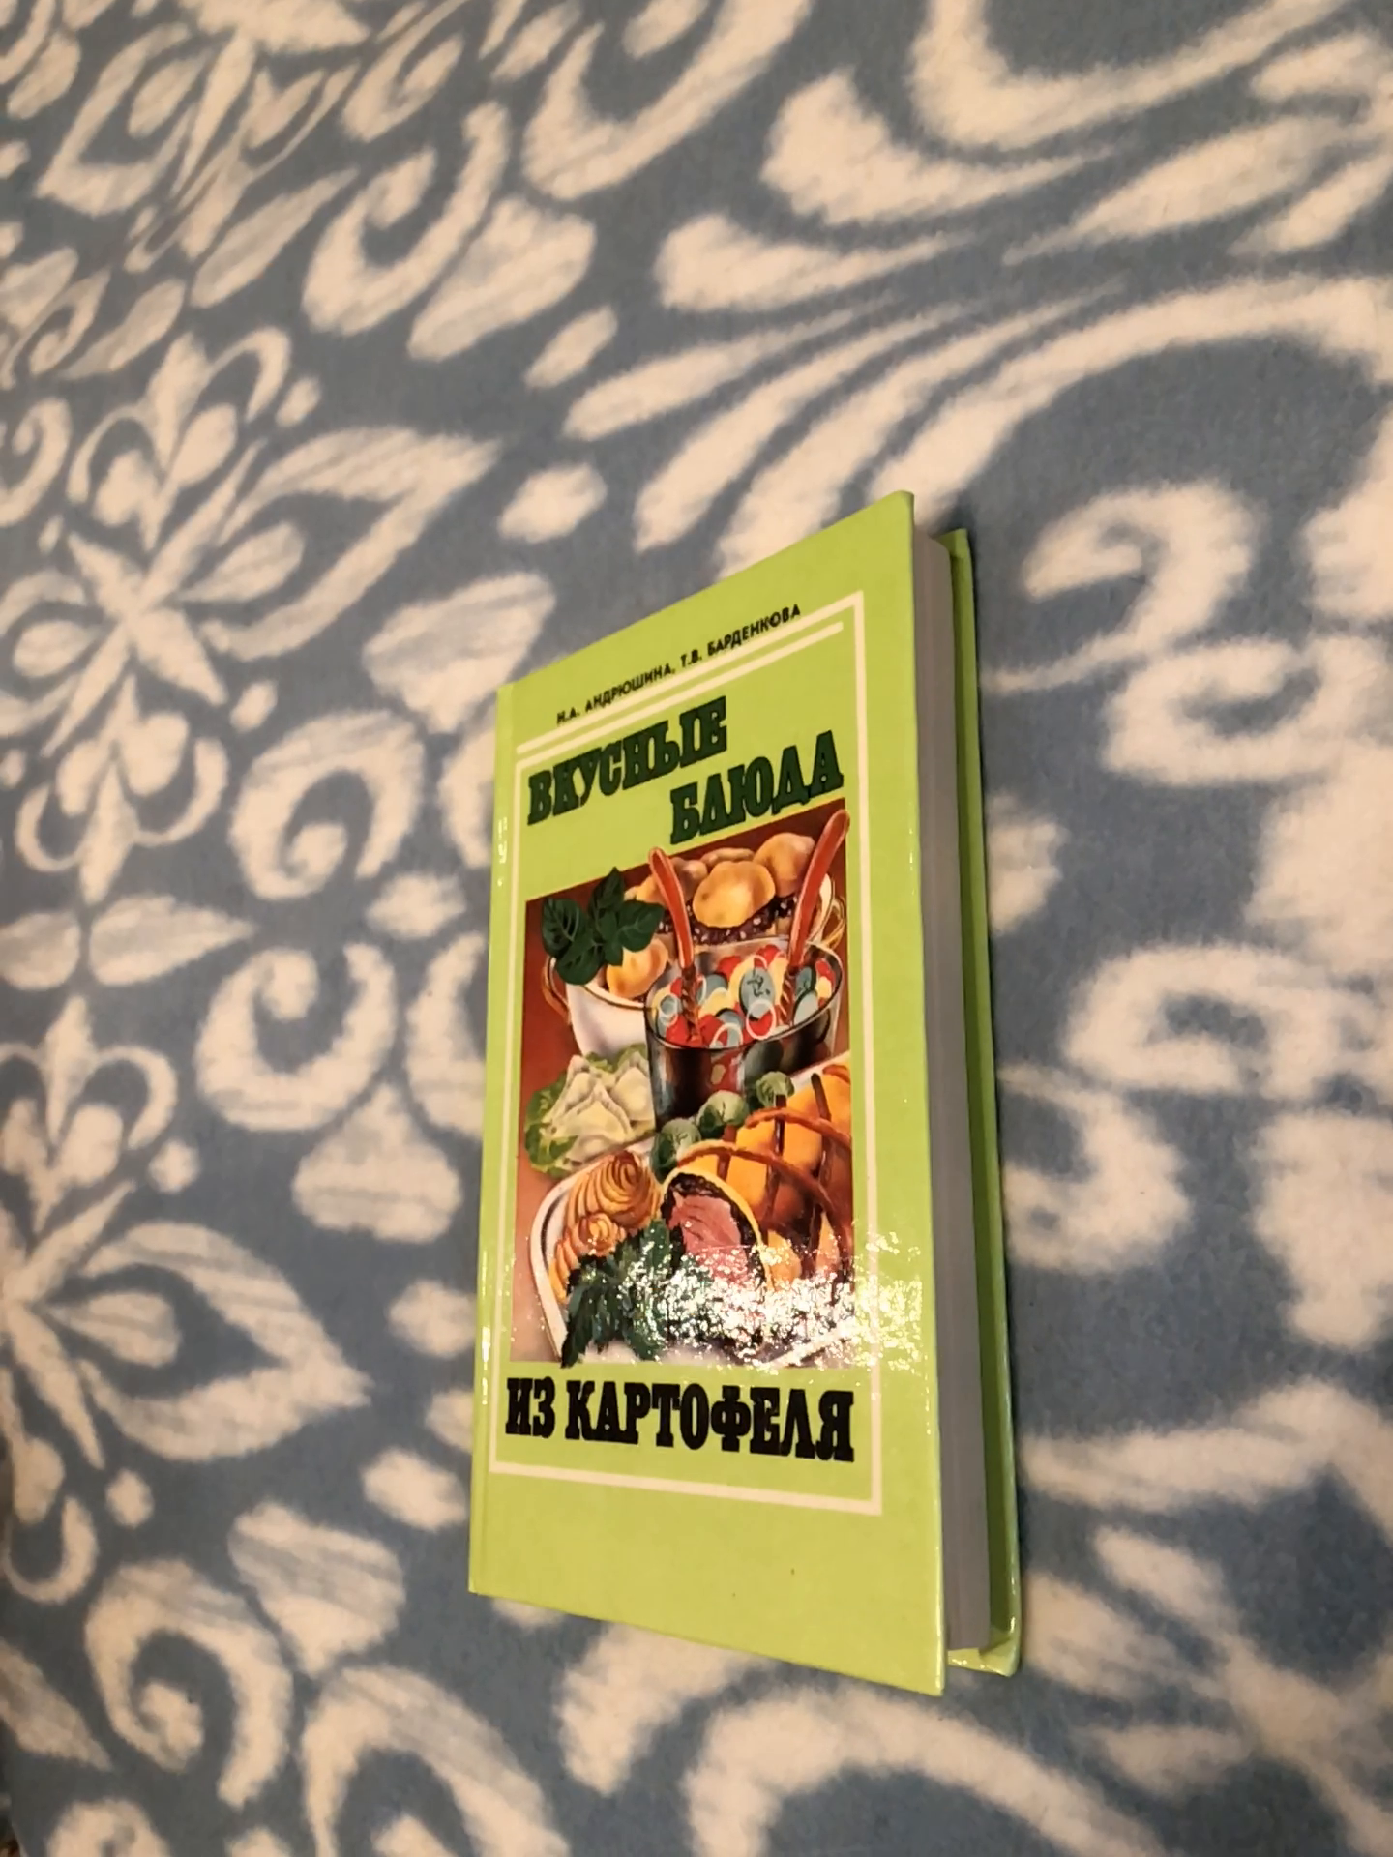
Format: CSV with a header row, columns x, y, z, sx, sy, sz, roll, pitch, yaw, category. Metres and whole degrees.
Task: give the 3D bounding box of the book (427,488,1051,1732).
x,y,z,sx,sy,sz,roll,pitch,yaw,category
0.000,0.033,0.306,0.136,0.025,0.201,-15,69,45,book
